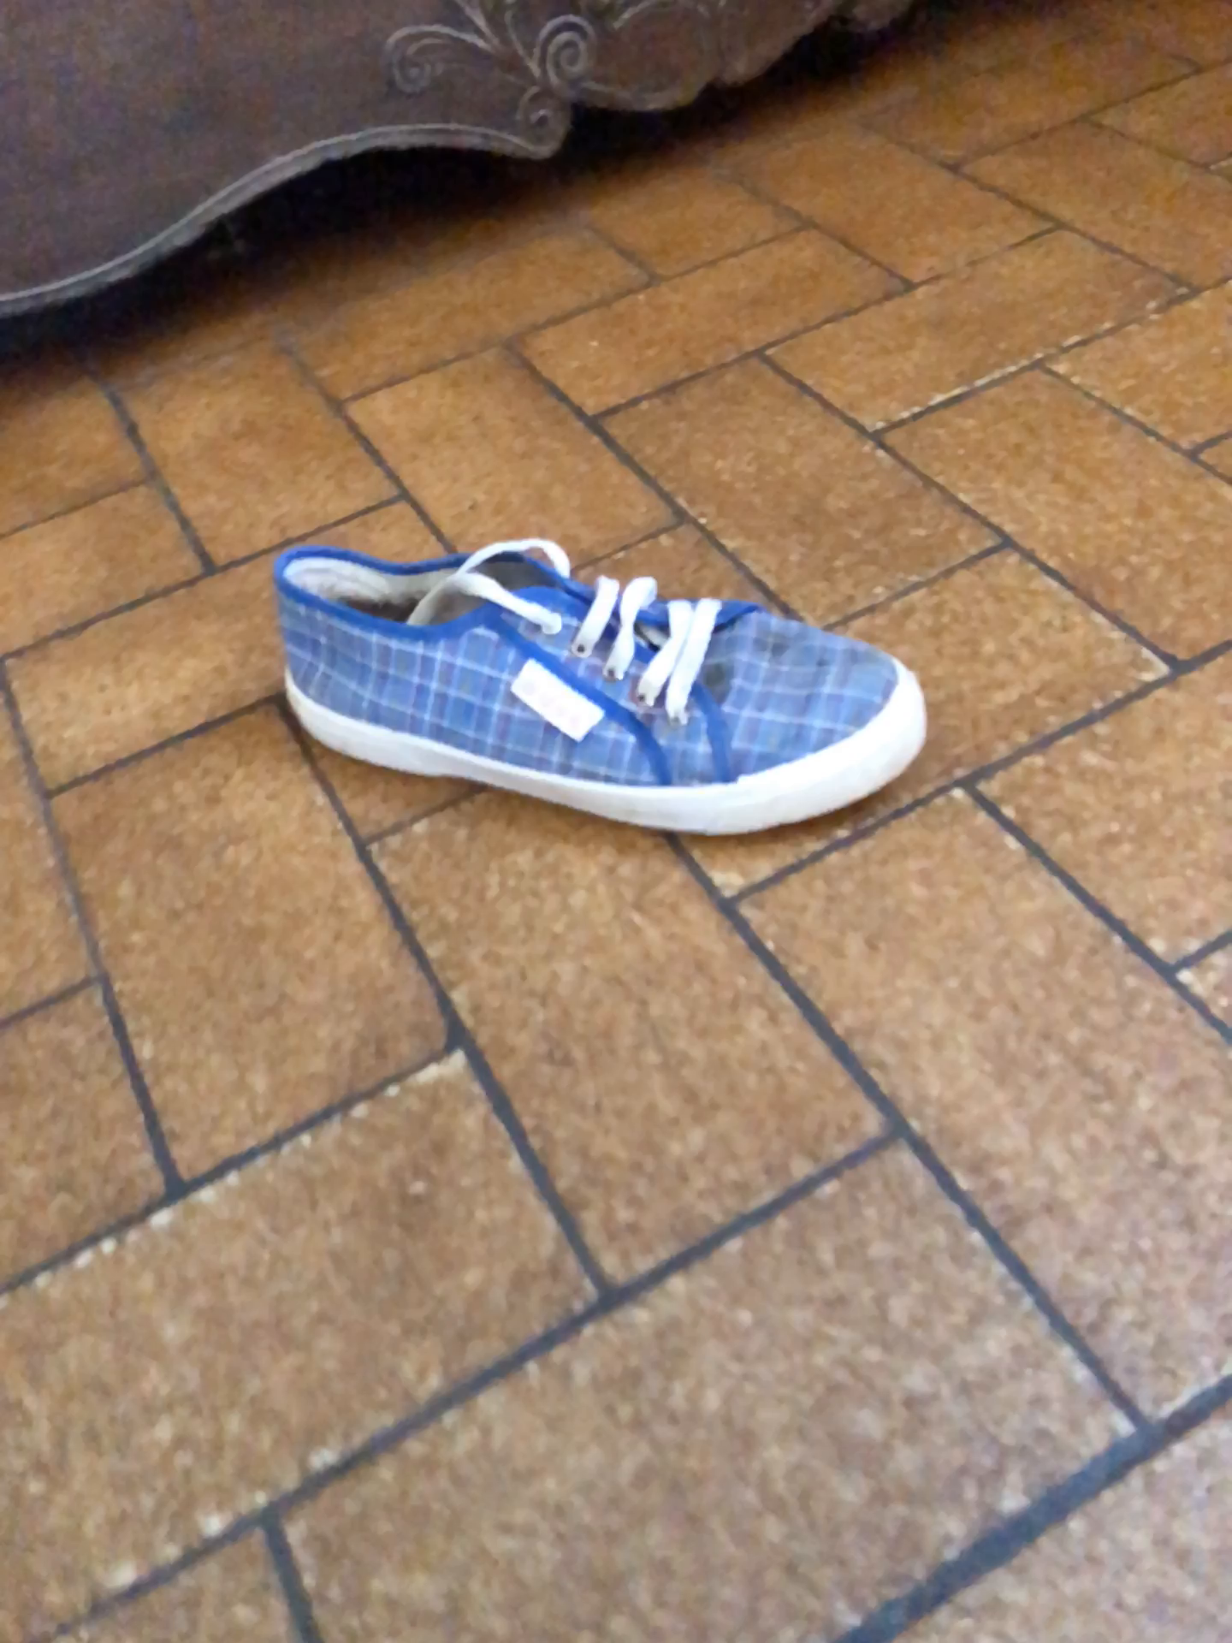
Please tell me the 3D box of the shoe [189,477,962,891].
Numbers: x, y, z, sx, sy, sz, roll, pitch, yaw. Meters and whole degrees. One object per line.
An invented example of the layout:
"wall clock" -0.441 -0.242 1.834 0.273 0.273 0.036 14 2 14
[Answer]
"shoe" -0.008 -0.053 0.477 0.240 0.080 0.101 6 50 14
